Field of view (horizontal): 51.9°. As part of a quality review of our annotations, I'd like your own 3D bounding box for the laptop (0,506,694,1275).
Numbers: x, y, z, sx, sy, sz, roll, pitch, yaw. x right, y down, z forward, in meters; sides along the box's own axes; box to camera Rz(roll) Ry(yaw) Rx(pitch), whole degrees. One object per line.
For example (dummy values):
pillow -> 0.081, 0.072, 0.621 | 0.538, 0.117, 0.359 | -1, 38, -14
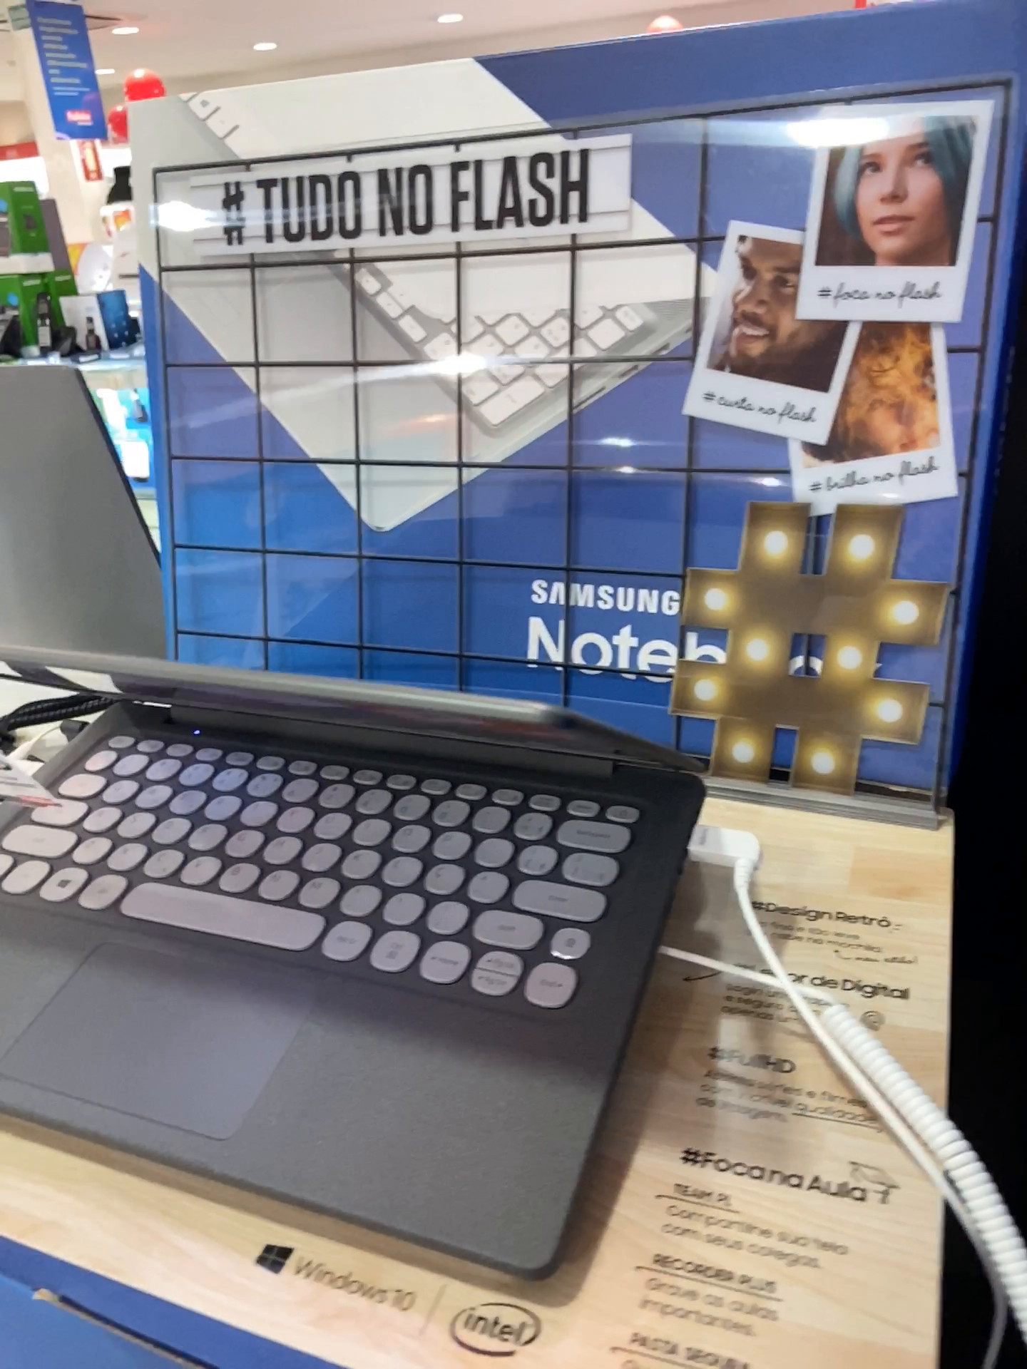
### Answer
laptop -> -0.112, 0.038, 0.408 | 0.323, 0.114, 0.211 | 5, 34, 21
